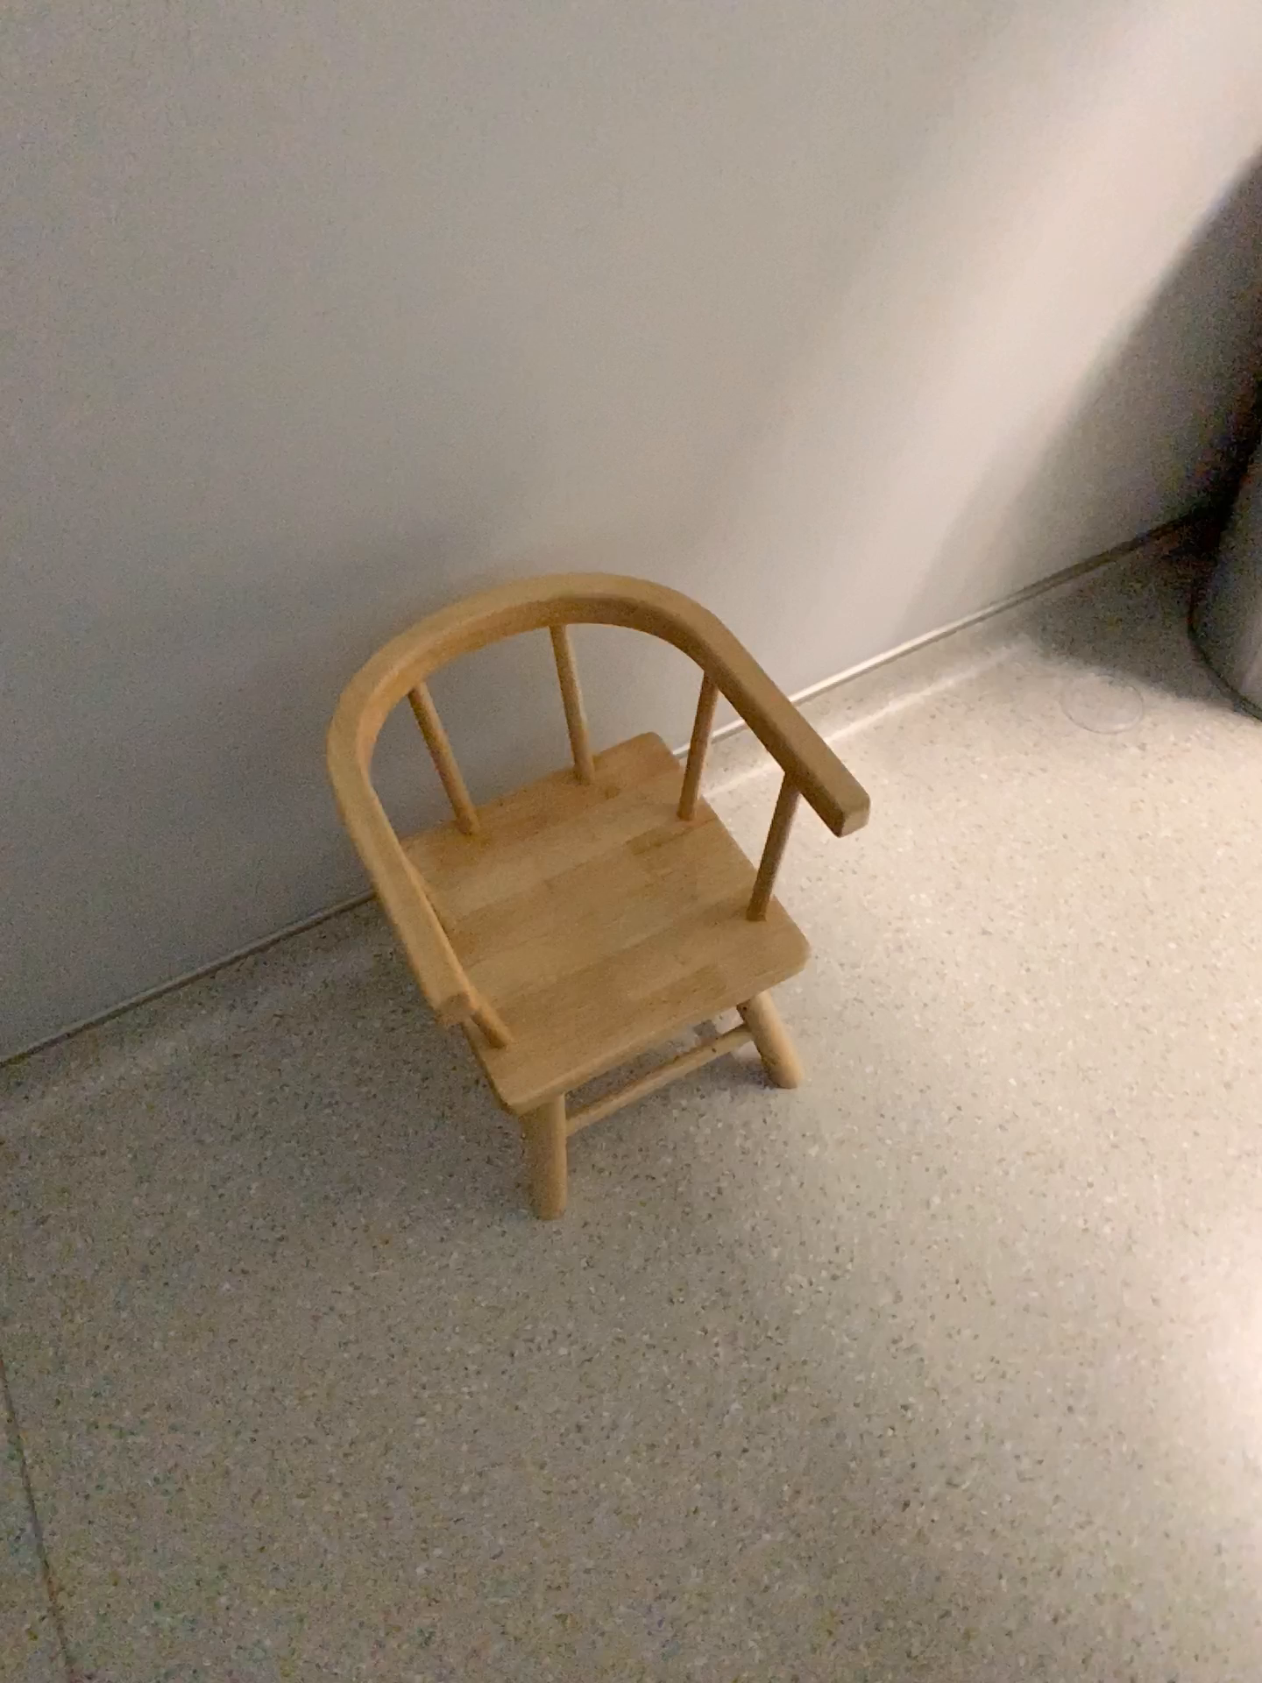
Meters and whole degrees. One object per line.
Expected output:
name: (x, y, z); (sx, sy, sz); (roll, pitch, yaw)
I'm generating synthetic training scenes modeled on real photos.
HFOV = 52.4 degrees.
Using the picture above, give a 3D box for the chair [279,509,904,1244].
chair: (-0.025, 0.051, 1.153); (0.362, 0.482, 0.345); (-23, 56, -11)
